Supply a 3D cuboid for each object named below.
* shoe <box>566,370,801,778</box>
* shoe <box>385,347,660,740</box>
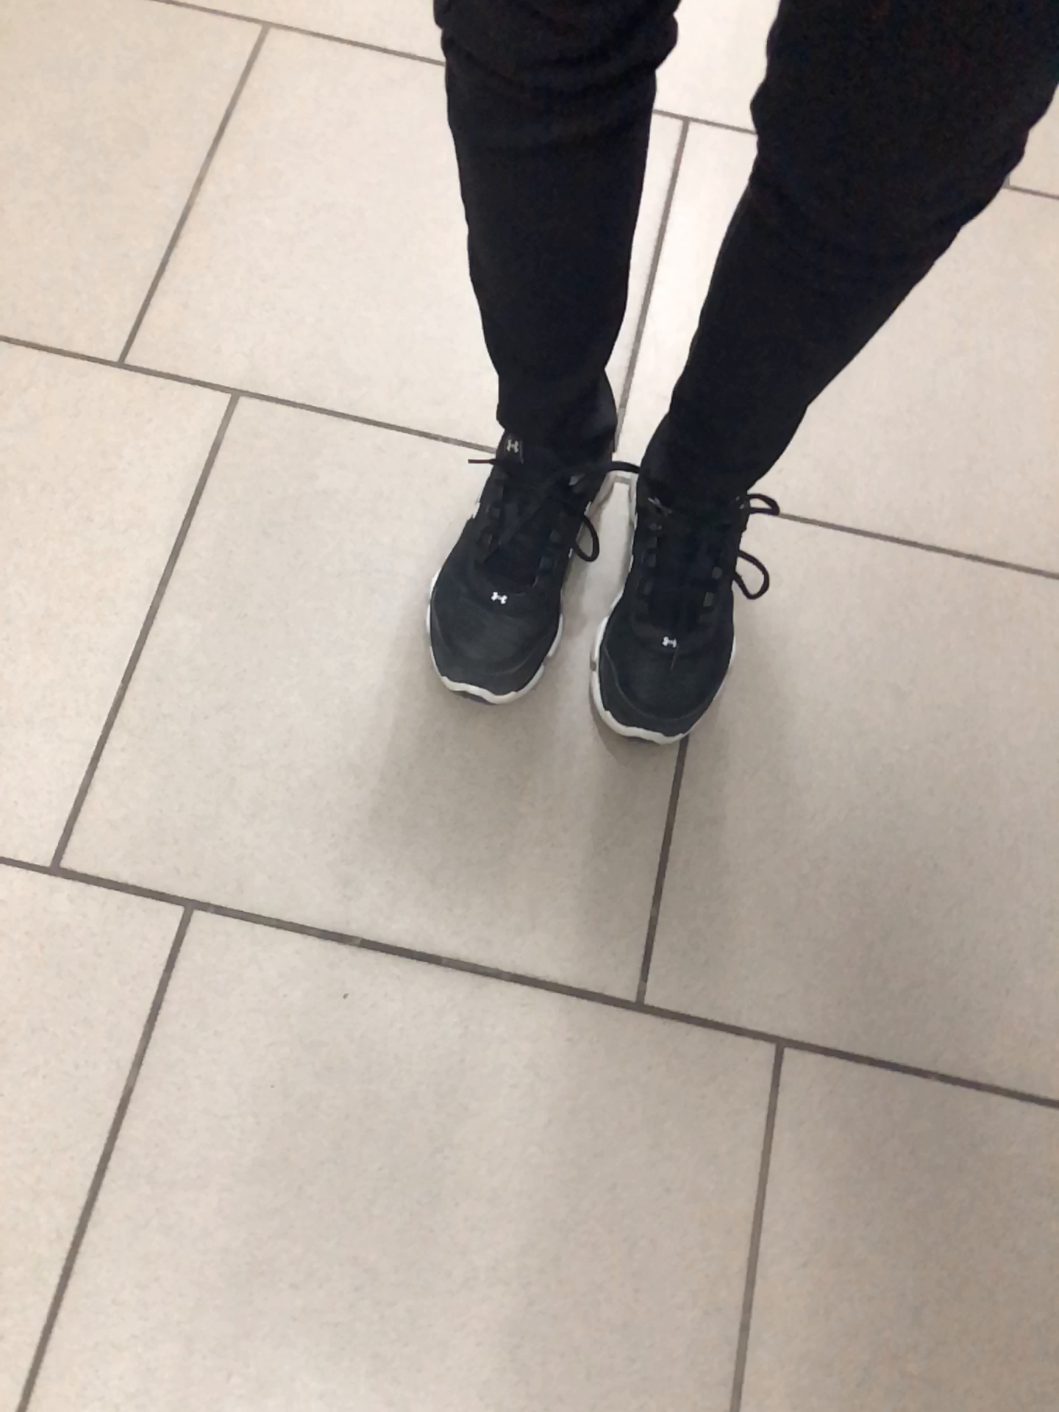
[{"bbox_3d":[0.114,-0.099,0.853,0.110,0.090,0.270,14,67,1],"label":"shoe"},{"bbox_3d":[-0.003,-0.123,0.865,0.110,0.090,0.260,21,68,4],"label":"shoe"}]
